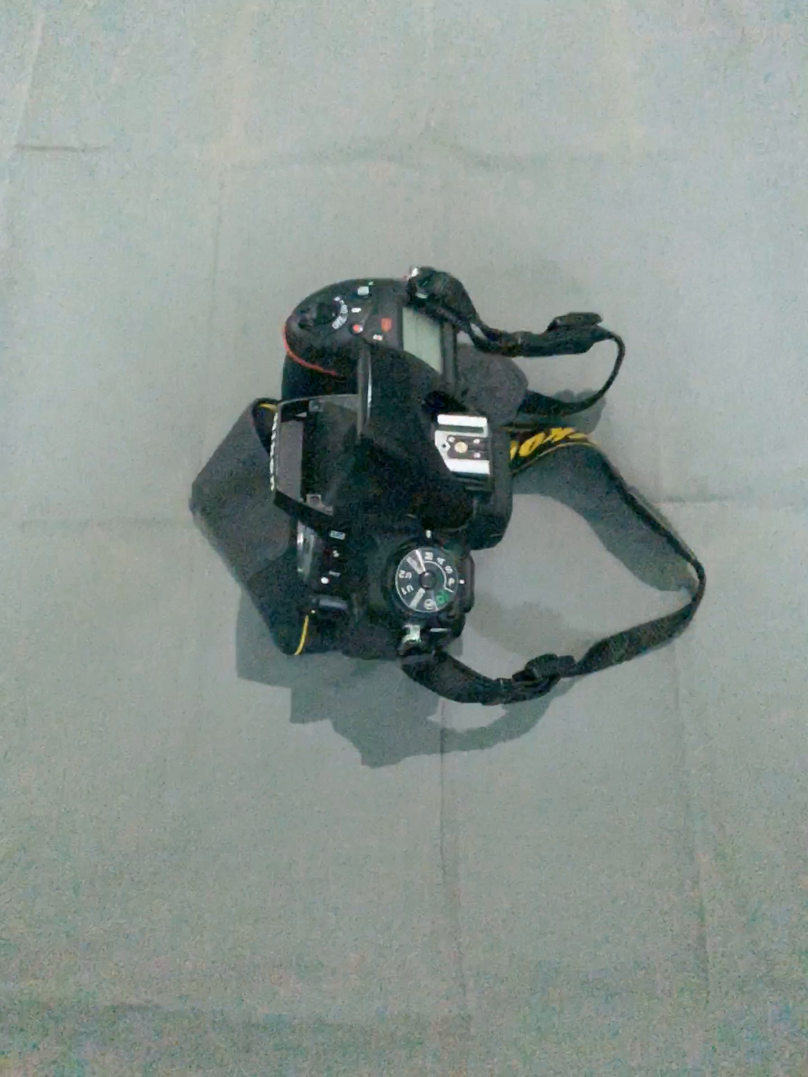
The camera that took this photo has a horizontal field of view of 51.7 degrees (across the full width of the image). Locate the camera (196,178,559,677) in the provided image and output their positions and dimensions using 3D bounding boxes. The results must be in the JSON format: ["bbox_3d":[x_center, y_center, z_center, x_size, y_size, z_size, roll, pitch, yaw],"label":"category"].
[{"bbox_3d":[-0.009,-0.030,0.313,0.100,0.126,0.140,2,70,-3],"label":"camera"}]
